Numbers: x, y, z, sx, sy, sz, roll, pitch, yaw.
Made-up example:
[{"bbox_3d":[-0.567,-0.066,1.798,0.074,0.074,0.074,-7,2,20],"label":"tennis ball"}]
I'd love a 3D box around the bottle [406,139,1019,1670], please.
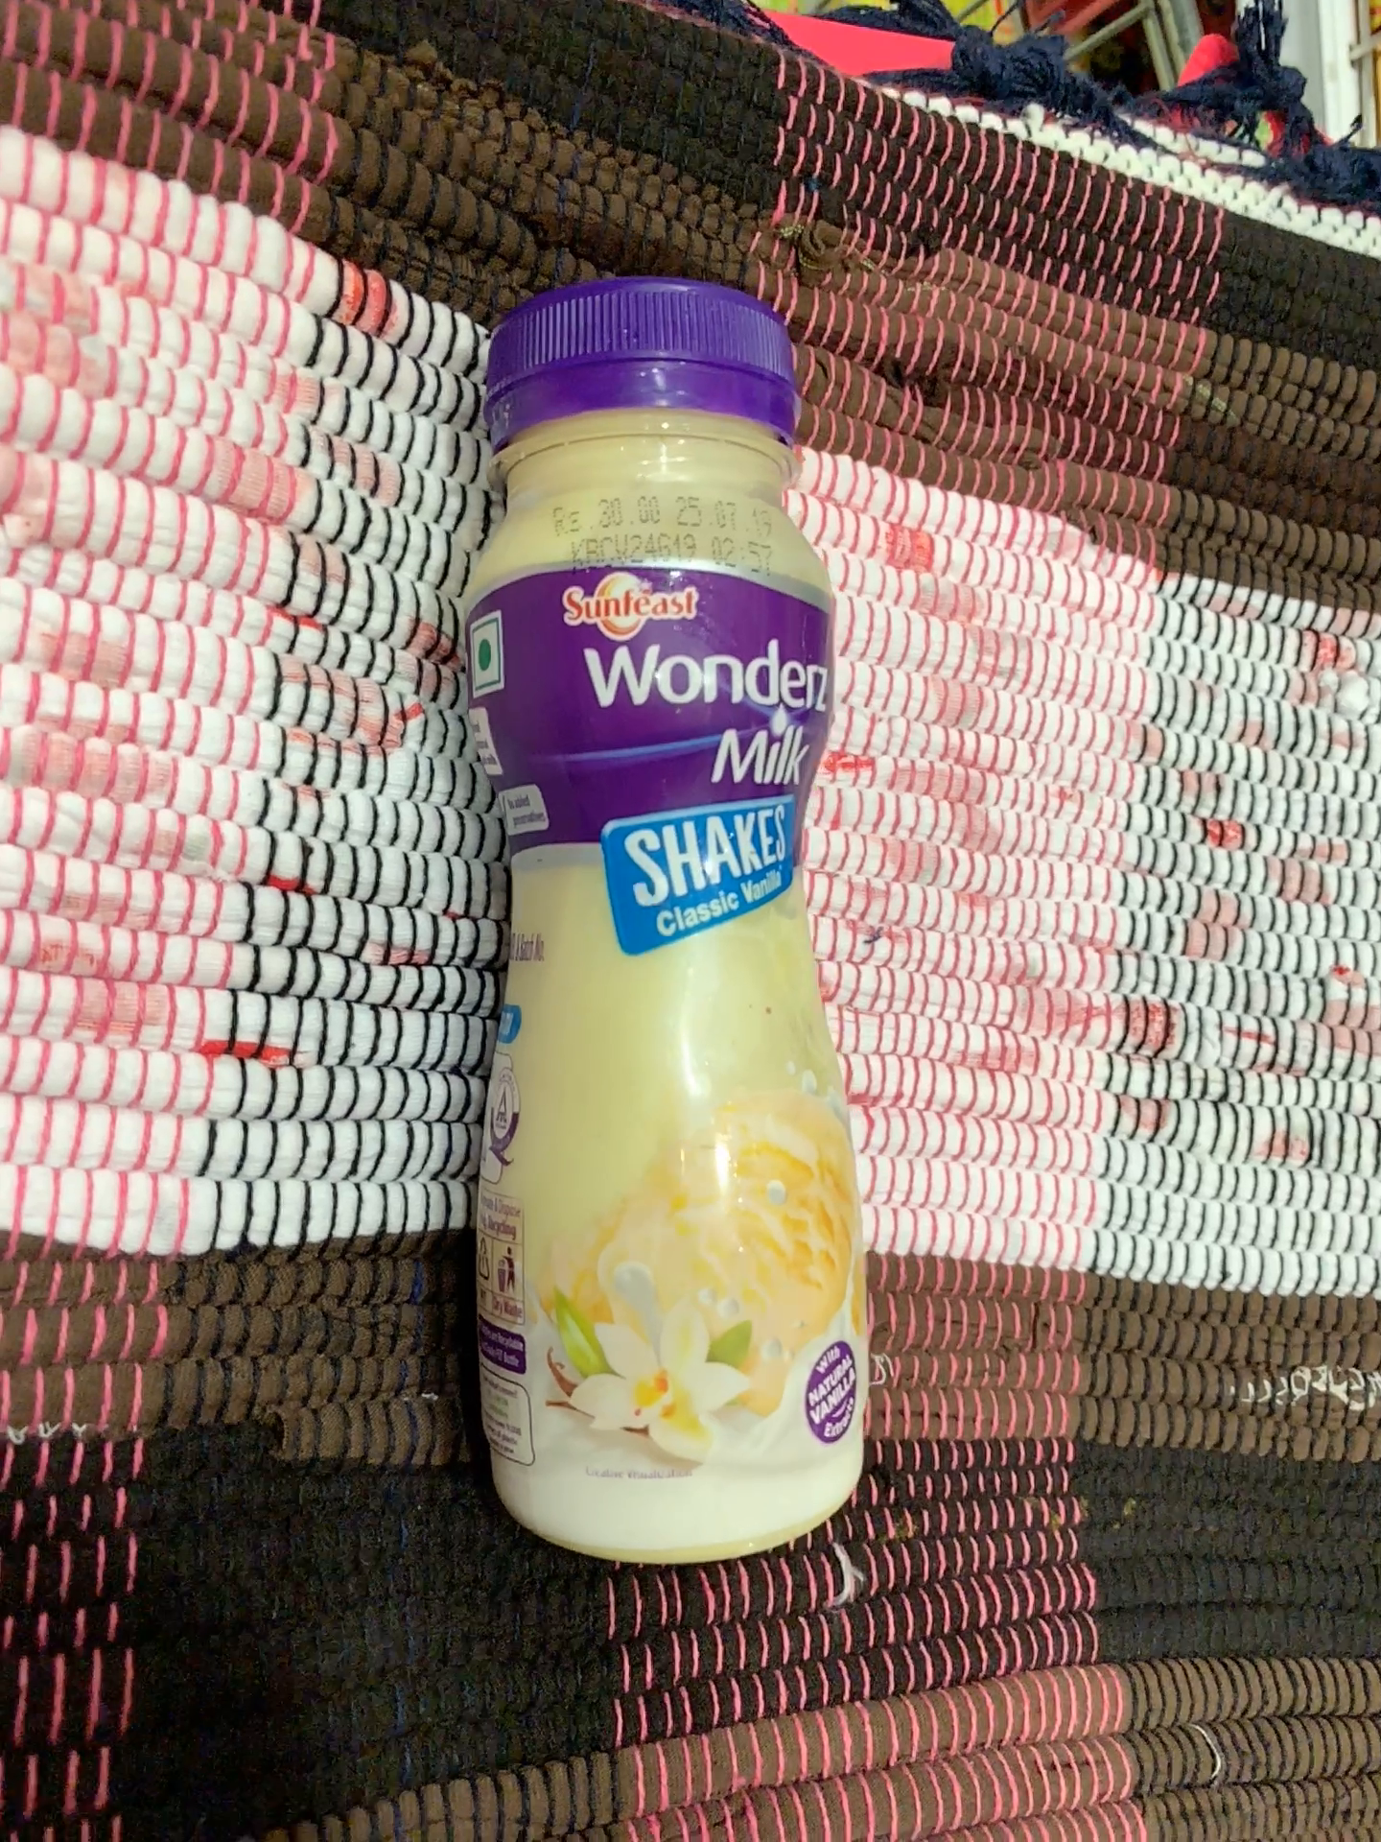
[{"bbox_3d":[0.001,-0.002,0.186,0.060,0.050,0.160,-2,92,-26],"label":"bottle"}]
